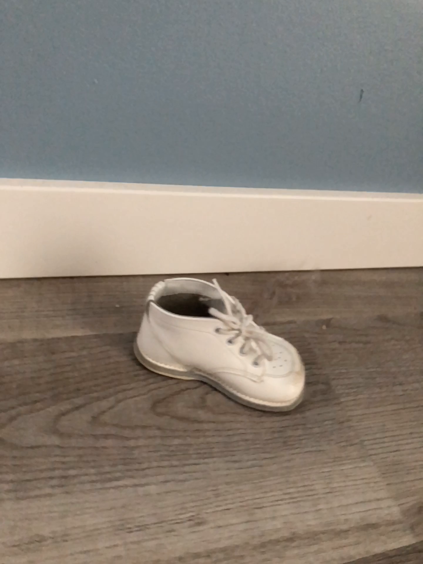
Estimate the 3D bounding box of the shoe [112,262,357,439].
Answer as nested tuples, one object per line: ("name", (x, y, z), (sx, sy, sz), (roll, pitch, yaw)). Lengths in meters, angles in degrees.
("shoe", (0.015, 0.046, 0.327), (0.150, 0.060, 0.060), (15, 40, 1))
